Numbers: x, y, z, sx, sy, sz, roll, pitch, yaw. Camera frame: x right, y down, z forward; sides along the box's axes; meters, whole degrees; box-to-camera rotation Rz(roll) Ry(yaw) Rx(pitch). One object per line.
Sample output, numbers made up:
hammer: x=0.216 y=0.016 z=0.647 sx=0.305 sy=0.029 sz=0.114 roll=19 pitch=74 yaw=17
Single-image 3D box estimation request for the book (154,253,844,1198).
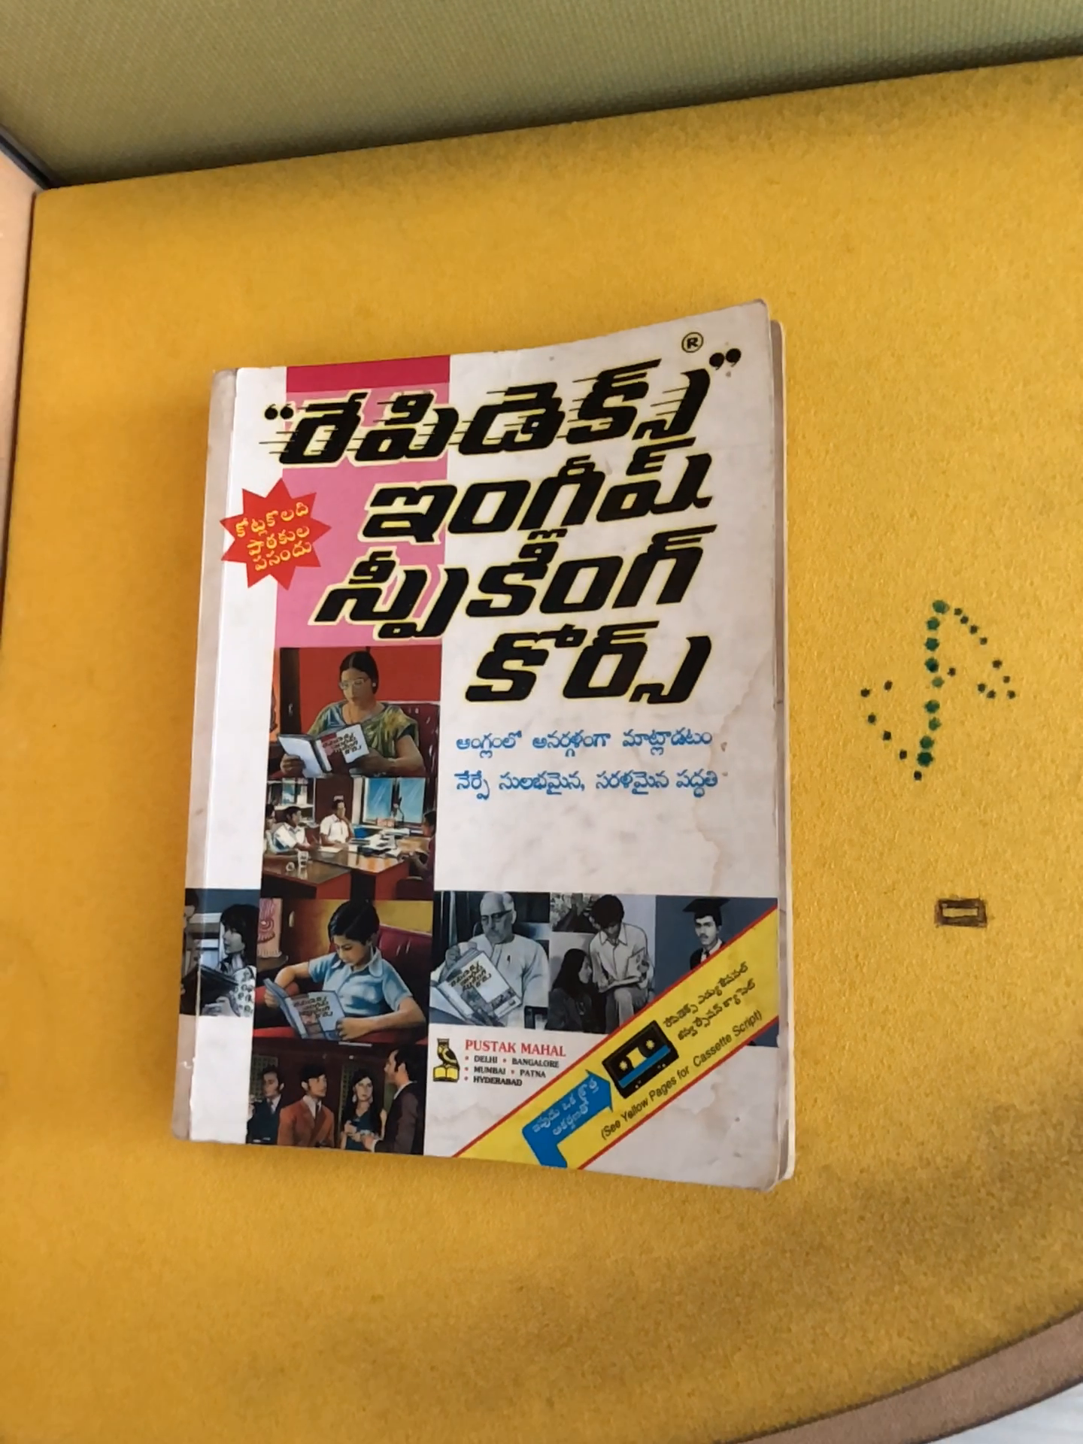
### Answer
book: x=-0.013 y=-0.002 z=0.351 sx=0.190 sy=0.030 sz=0.250 roll=-2 pitch=81 yaw=14
